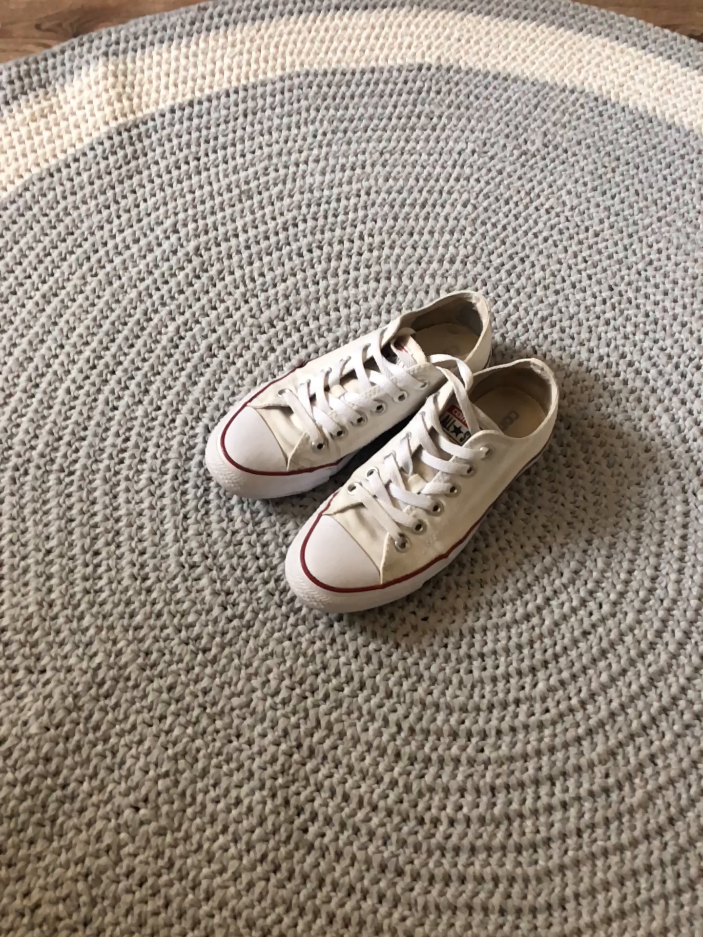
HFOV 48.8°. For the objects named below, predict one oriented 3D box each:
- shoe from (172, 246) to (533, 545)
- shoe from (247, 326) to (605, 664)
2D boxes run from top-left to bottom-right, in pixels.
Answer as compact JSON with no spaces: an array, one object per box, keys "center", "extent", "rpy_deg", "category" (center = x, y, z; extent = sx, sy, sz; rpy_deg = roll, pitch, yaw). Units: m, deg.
[{"center":[0.003,-0.059,0.587],"extent":[0.247,0.070,0.100],"rpy_deg":[-32,70,-17],"category":"shoe"},{"center":[0.054,0.014,0.552],"extent":[0.240,0.070,0.100],"rpy_deg":[-38,72,-19],"category":"shoe"}]
